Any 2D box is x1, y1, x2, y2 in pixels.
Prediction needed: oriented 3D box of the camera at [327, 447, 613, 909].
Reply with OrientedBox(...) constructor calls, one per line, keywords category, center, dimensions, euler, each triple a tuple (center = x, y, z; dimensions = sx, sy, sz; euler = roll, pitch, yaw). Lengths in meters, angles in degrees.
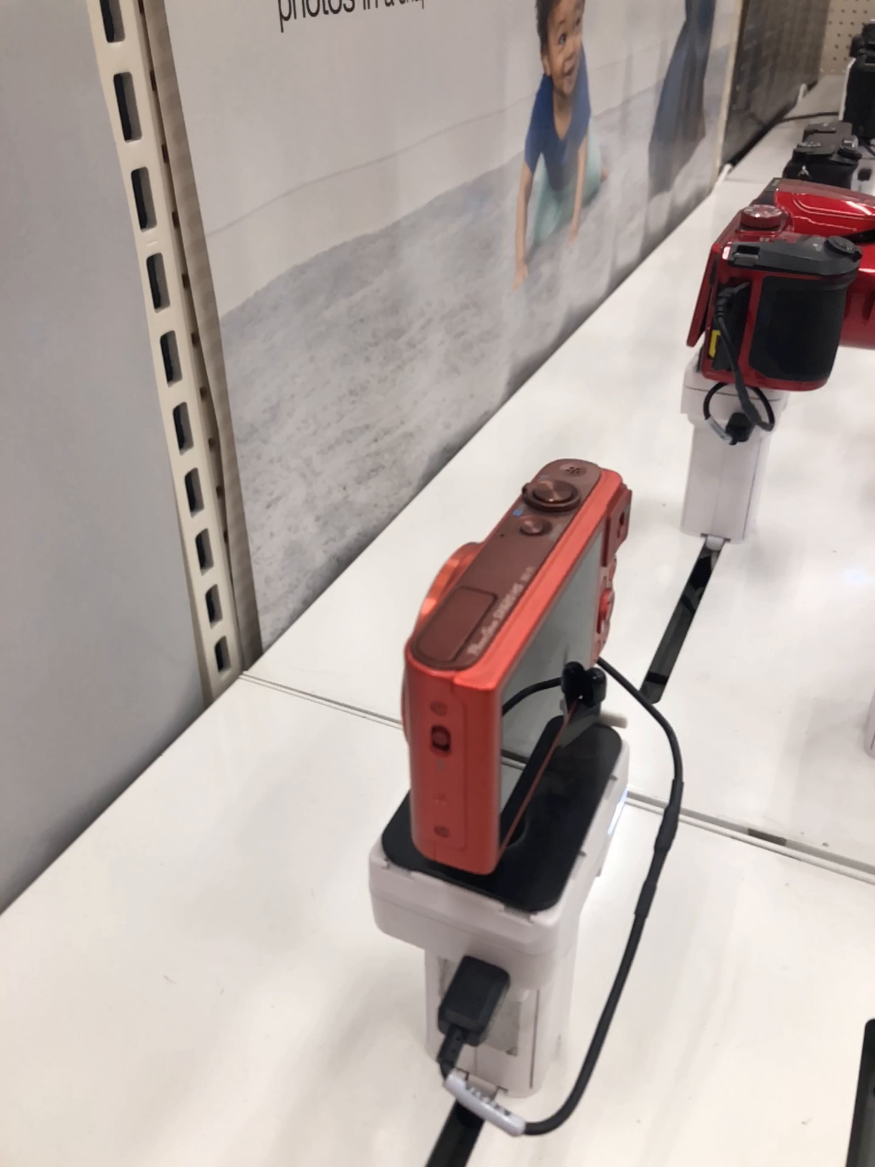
OrientedBox(category="camera", center=(0.014, 0.017, 0.249), dimensions=(0.030, 0.060, 0.111), euler=(13, 36, 20))
